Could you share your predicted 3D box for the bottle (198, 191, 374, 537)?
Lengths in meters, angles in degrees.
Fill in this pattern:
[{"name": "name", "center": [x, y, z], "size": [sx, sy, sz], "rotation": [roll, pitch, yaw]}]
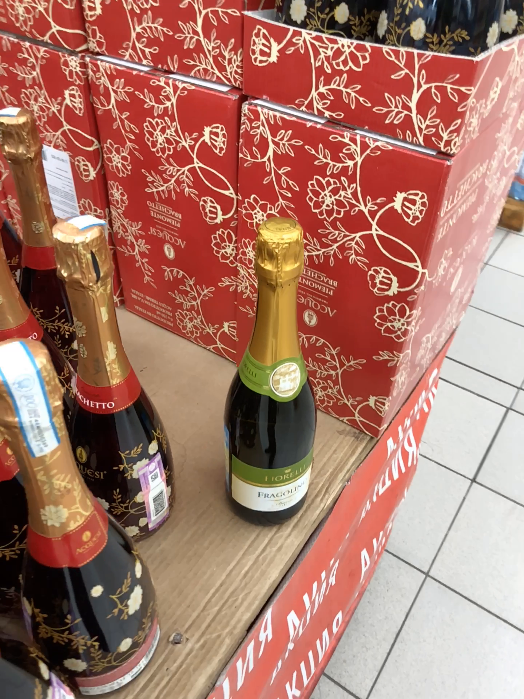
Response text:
[{"name": "bottle", "center": [0.009, 0.028, 0.487], "size": [0.090, 0.288, 0.090], "rotation": [1, 41, -1]}]
